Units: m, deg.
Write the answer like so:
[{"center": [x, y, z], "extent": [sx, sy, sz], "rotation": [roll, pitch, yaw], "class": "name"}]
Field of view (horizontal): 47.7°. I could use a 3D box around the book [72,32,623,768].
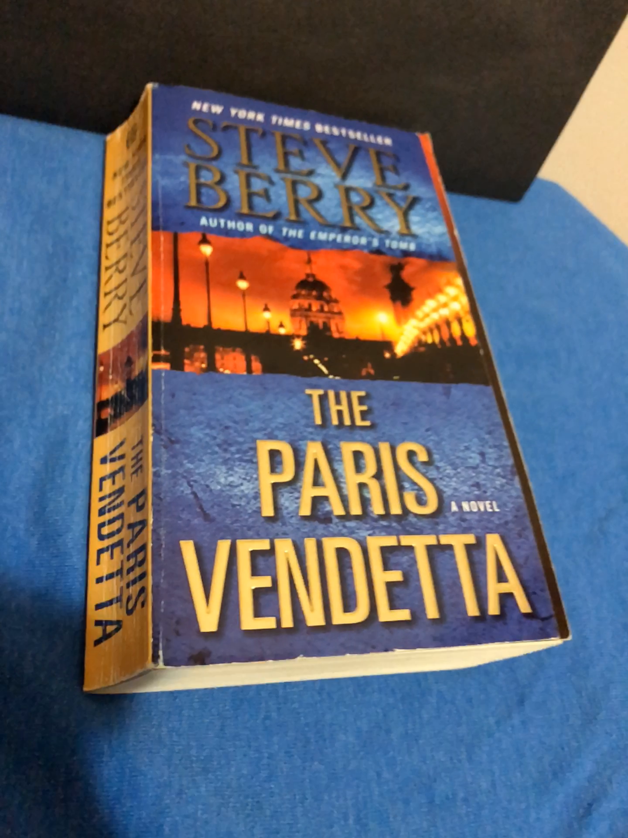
[{"center": [-0.006, -0.016, 0.214], "extent": [0.120, 0.050, 0.200], "rotation": [4, 58, -24], "class": "book"}]
